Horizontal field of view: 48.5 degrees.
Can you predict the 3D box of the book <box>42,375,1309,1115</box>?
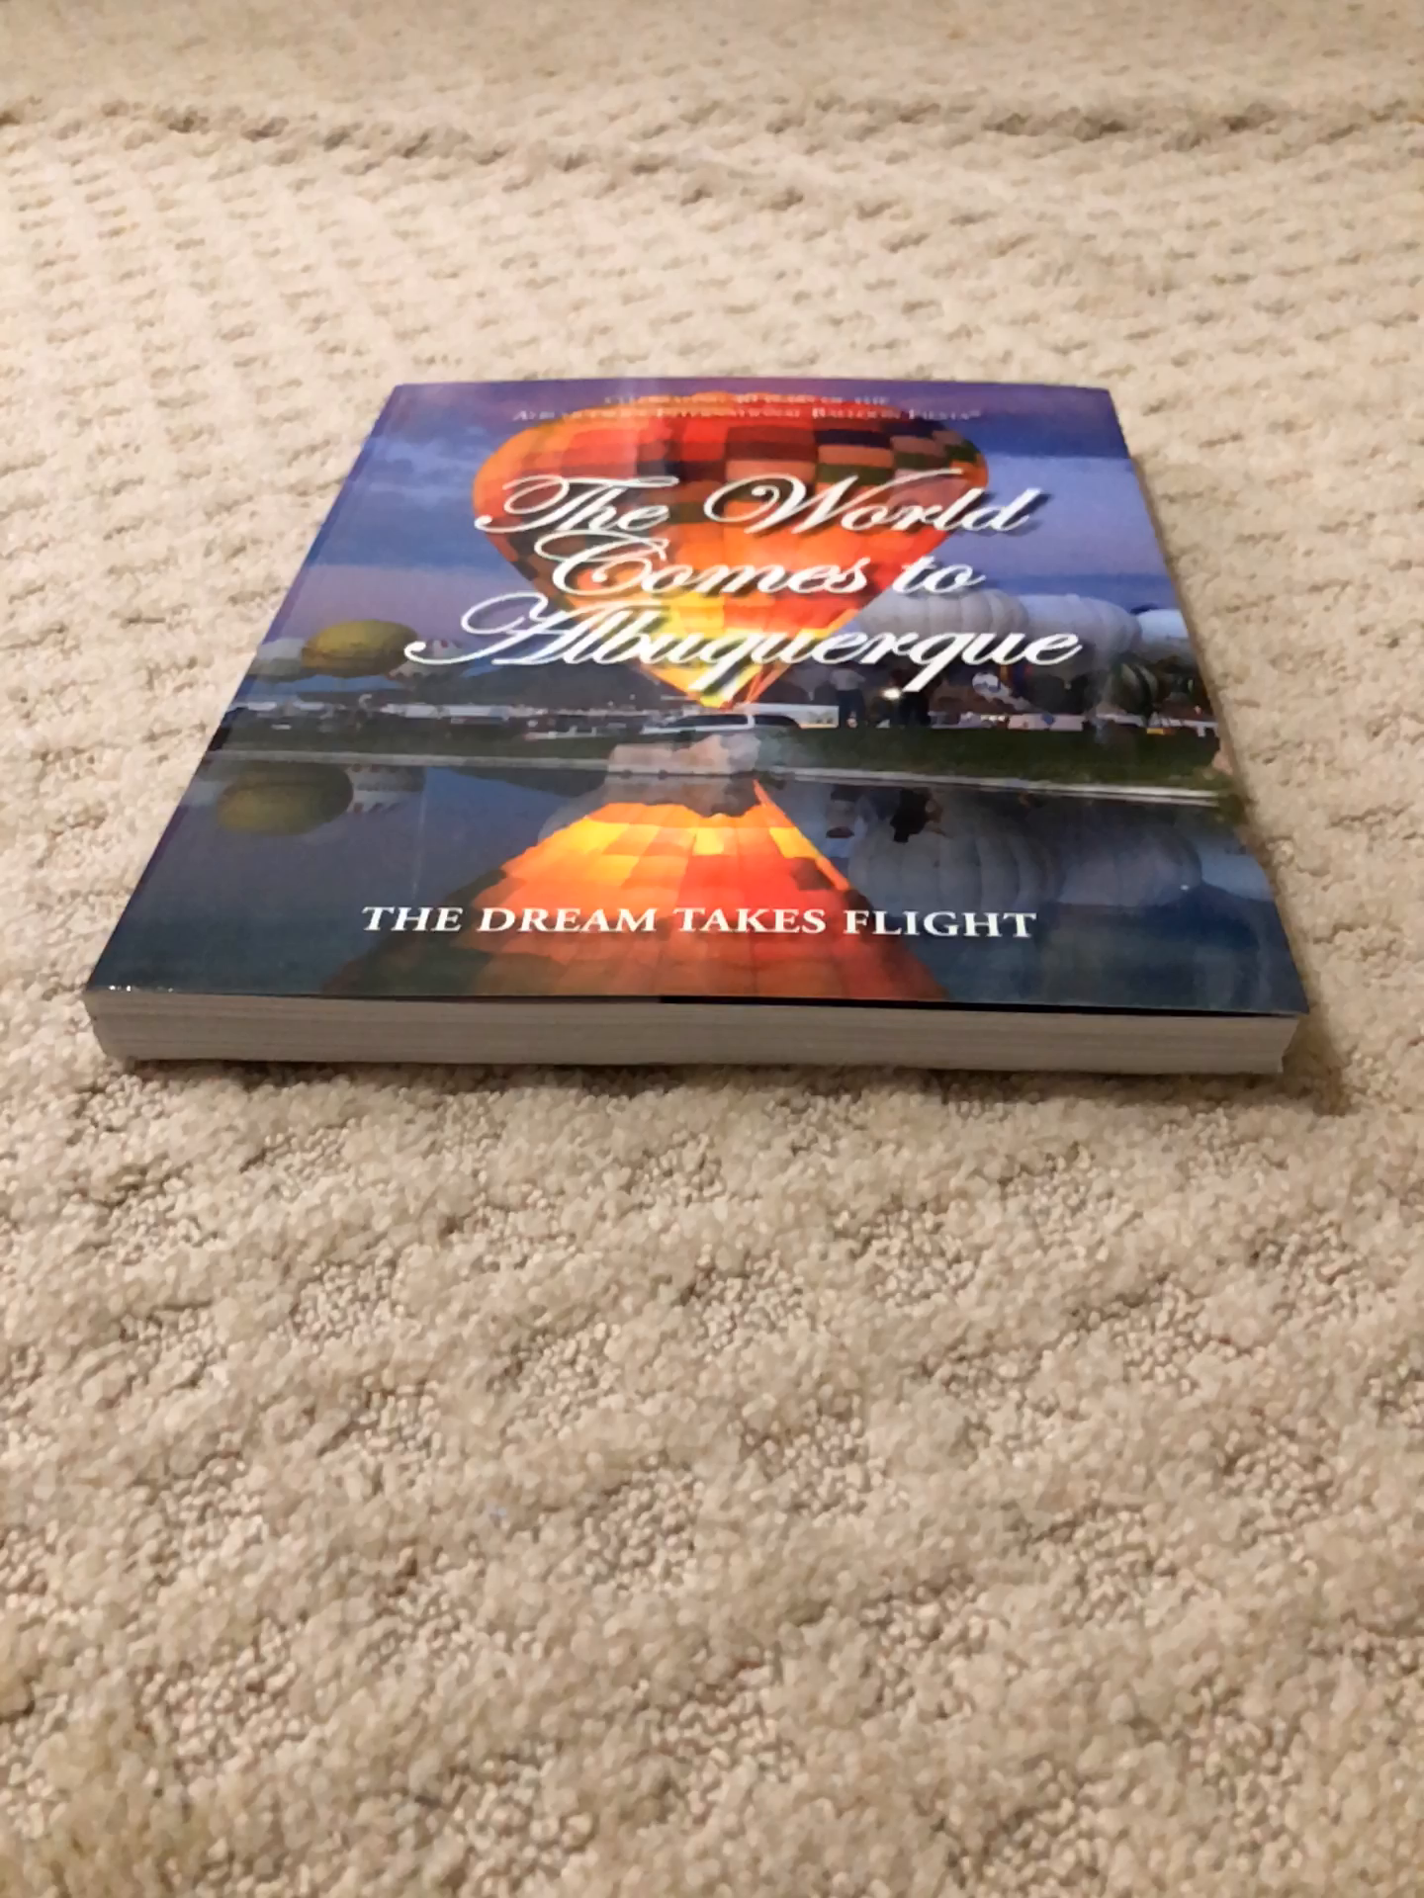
[{"bbox_3d":[0.000,-0.069,0.358,0.204,0.023,0.259,1,41,3],"label":"book"}]
